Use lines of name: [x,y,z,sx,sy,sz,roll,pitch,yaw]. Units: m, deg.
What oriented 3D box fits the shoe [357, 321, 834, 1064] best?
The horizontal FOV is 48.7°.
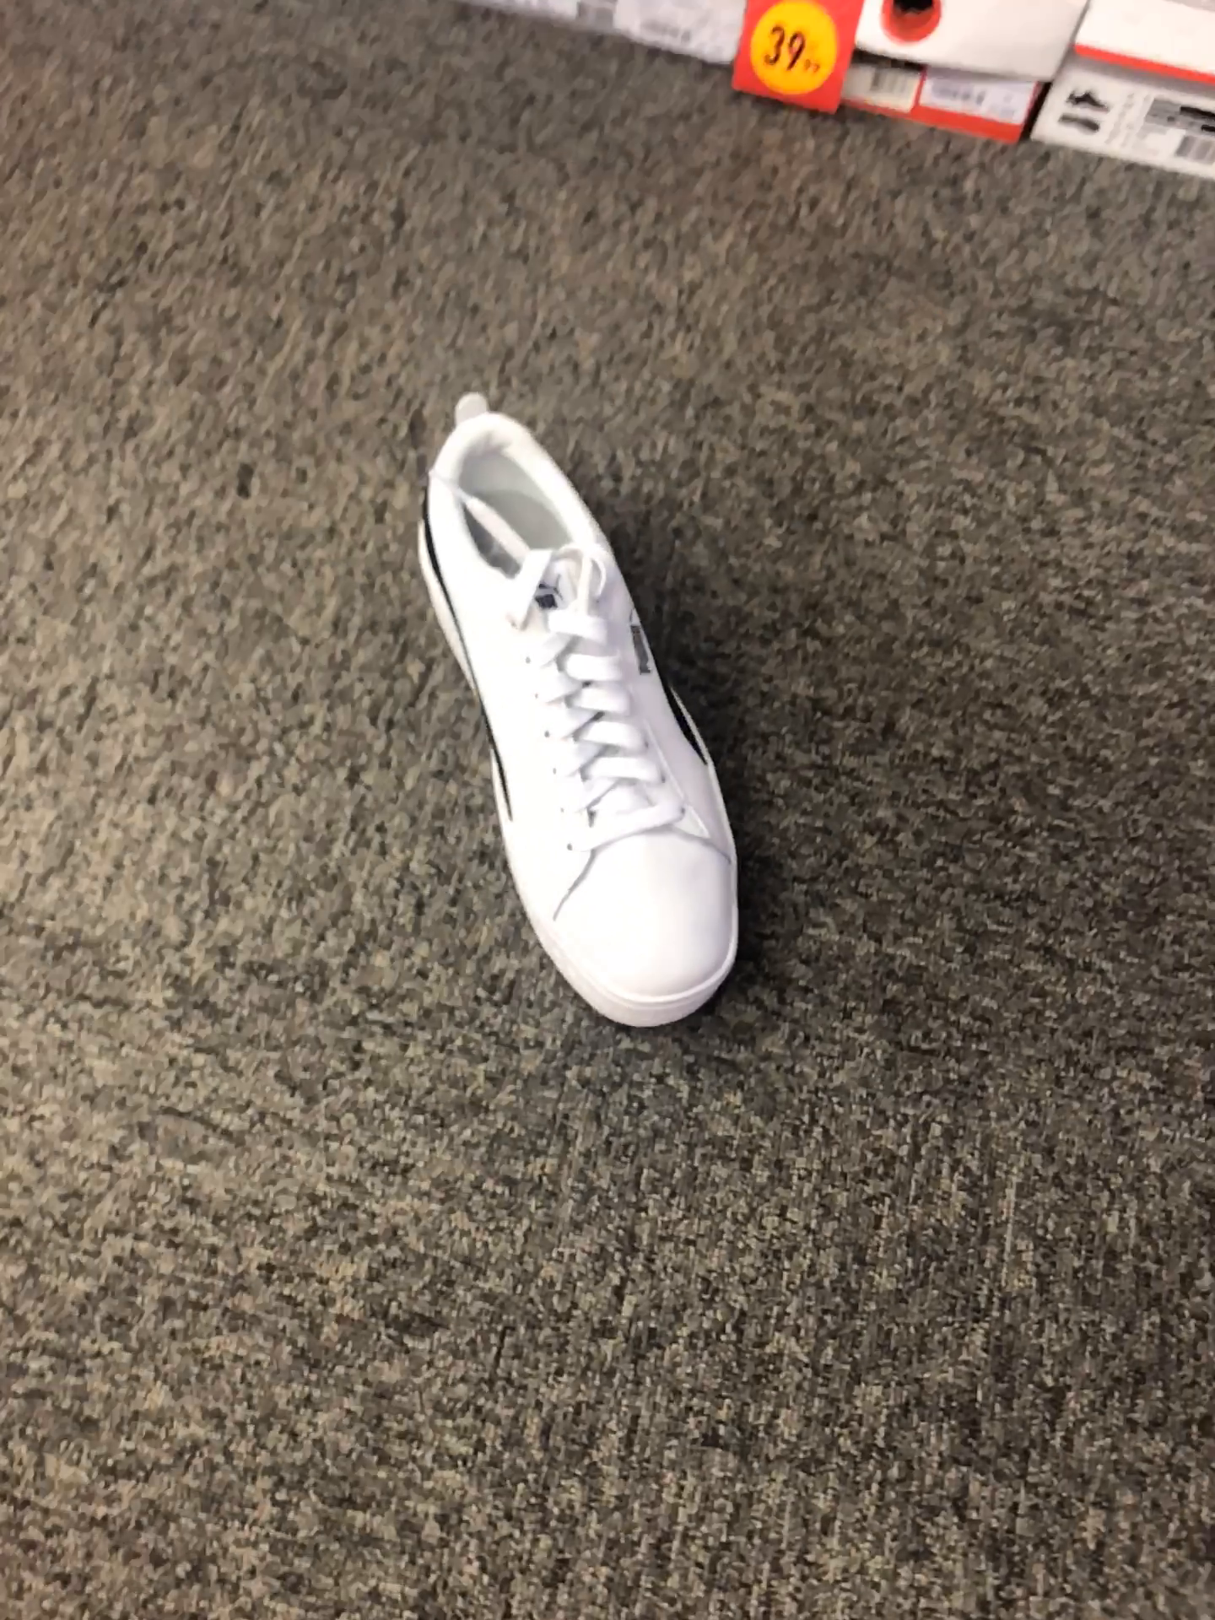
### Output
shoe: [-0.015,-0.054,0.576,0.110,0.090,0.290,-15,71,-10]
